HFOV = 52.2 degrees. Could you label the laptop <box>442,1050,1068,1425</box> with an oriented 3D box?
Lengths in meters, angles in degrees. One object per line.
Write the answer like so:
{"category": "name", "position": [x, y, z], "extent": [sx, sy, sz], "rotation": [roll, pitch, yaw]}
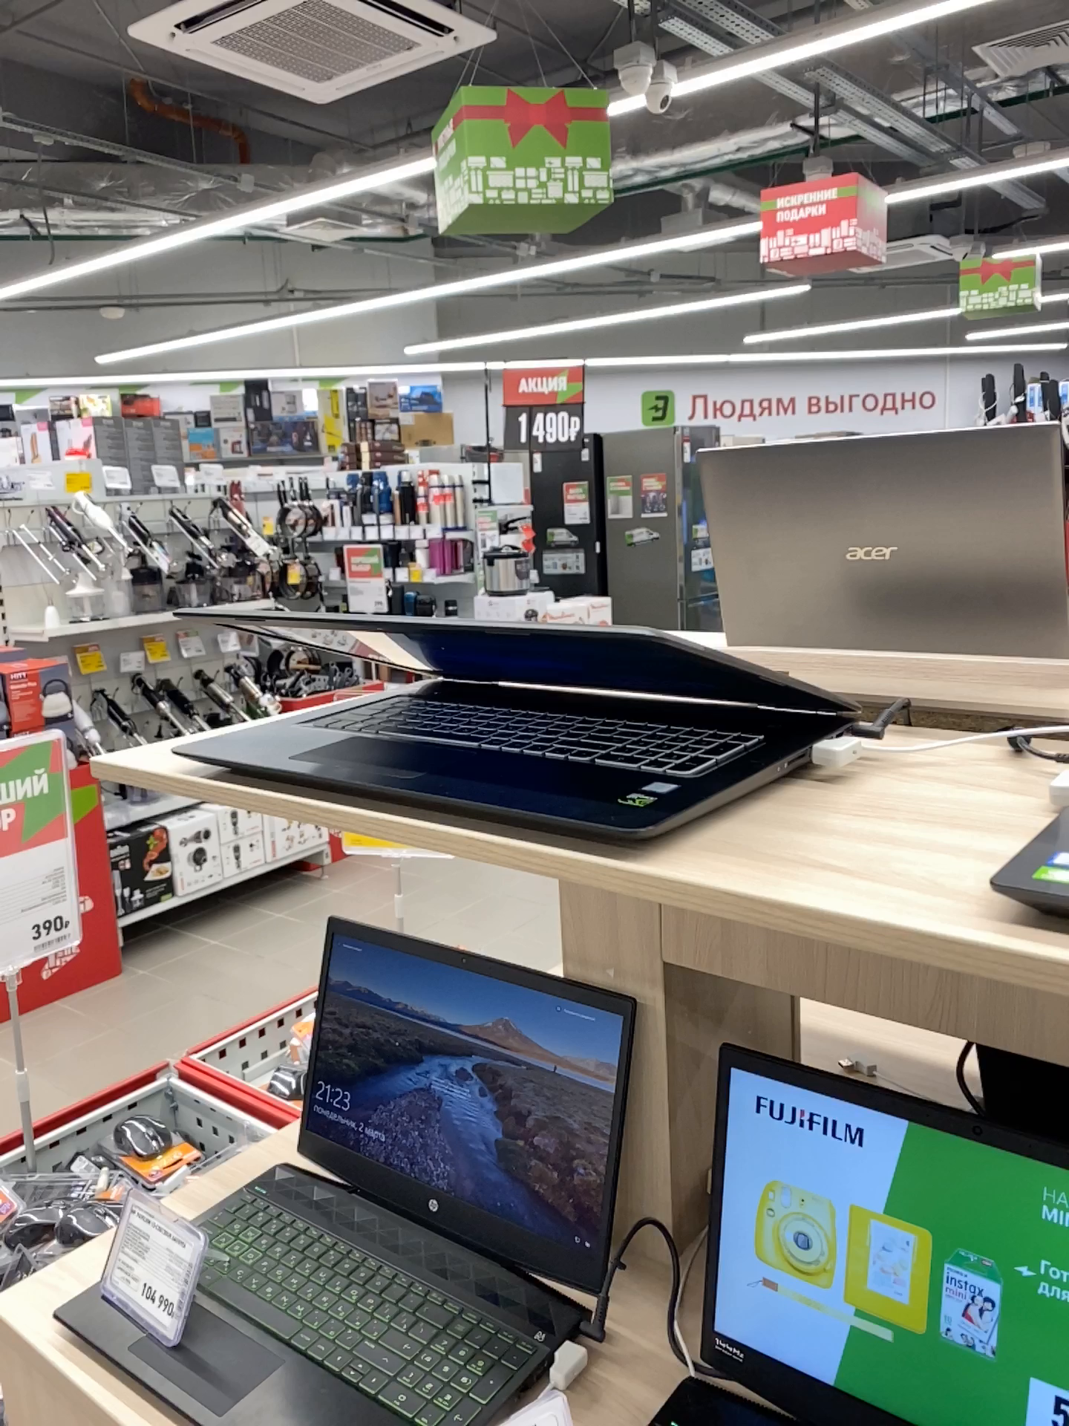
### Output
{"category": "laptop", "position": [0.192, 0.386, 0.574], "extent": [0.354, 0.226, 0.299], "rotation": [4, 12, 38]}

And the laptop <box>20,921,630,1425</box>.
{"category": "laptop", "position": [-0.155, 0.354, 0.865], "extent": [0.344, 0.220, 0.314], "rotation": [6, 12, 36]}

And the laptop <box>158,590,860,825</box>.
{"category": "laptop", "position": [-0.023, -0.027, 0.755], "extent": [0.404, 0.084, 0.271], "rotation": [5, 14, 38]}
